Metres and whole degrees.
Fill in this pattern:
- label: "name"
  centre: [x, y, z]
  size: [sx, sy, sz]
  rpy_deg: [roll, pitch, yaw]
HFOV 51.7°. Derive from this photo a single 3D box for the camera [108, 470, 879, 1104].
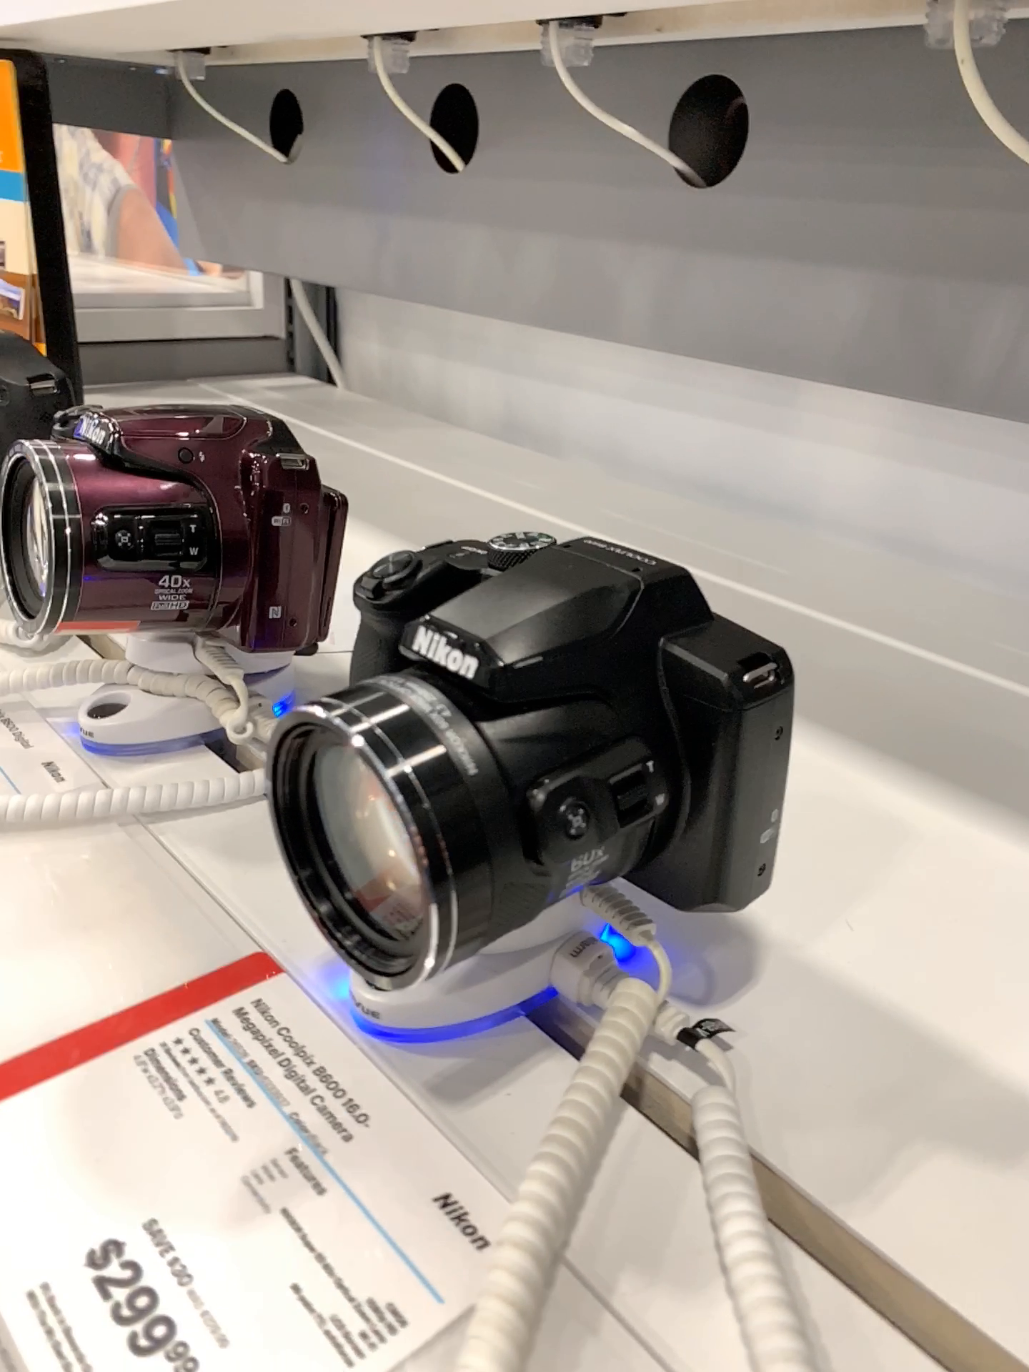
- label: "camera"
  centre: [-0.009, 0.005, 0.247]
  size: [0.110, 0.070, 0.130]
  rpy_deg: [-20, 33, -40]
